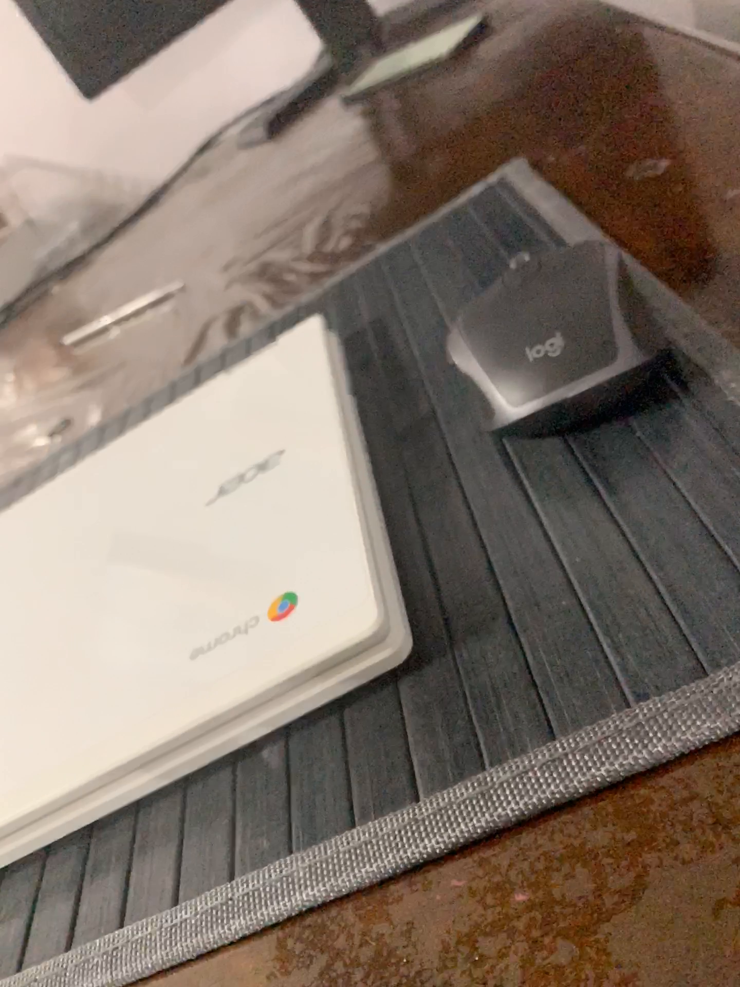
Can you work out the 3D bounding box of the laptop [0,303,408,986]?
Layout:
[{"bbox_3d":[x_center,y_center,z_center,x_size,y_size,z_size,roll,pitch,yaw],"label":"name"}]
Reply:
[{"bbox_3d":[-0.122,0.040,0.294,0.278,0.002,0.195,-30,34,13],"label":"laptop"}]
